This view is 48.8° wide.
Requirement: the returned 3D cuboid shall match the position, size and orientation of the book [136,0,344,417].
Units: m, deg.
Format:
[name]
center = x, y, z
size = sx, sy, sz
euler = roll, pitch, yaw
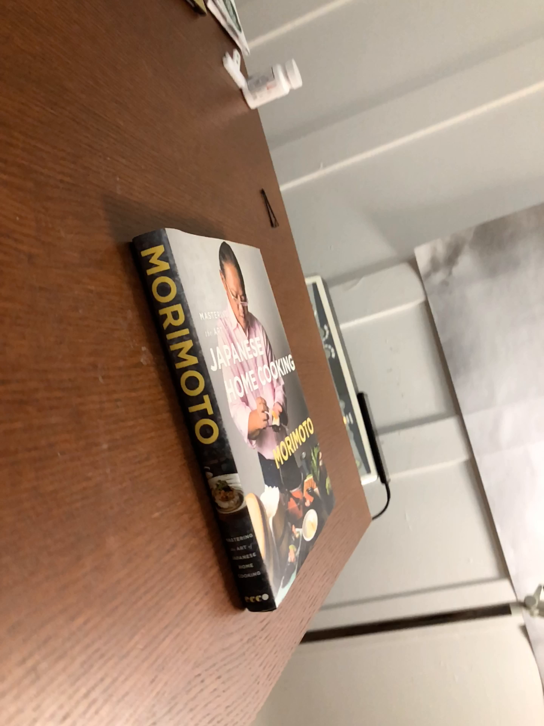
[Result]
[book]
center = -0.017, -0.124, 0.470
size = 0.221, 0.030, 0.300
euler = 34, 43, -64
